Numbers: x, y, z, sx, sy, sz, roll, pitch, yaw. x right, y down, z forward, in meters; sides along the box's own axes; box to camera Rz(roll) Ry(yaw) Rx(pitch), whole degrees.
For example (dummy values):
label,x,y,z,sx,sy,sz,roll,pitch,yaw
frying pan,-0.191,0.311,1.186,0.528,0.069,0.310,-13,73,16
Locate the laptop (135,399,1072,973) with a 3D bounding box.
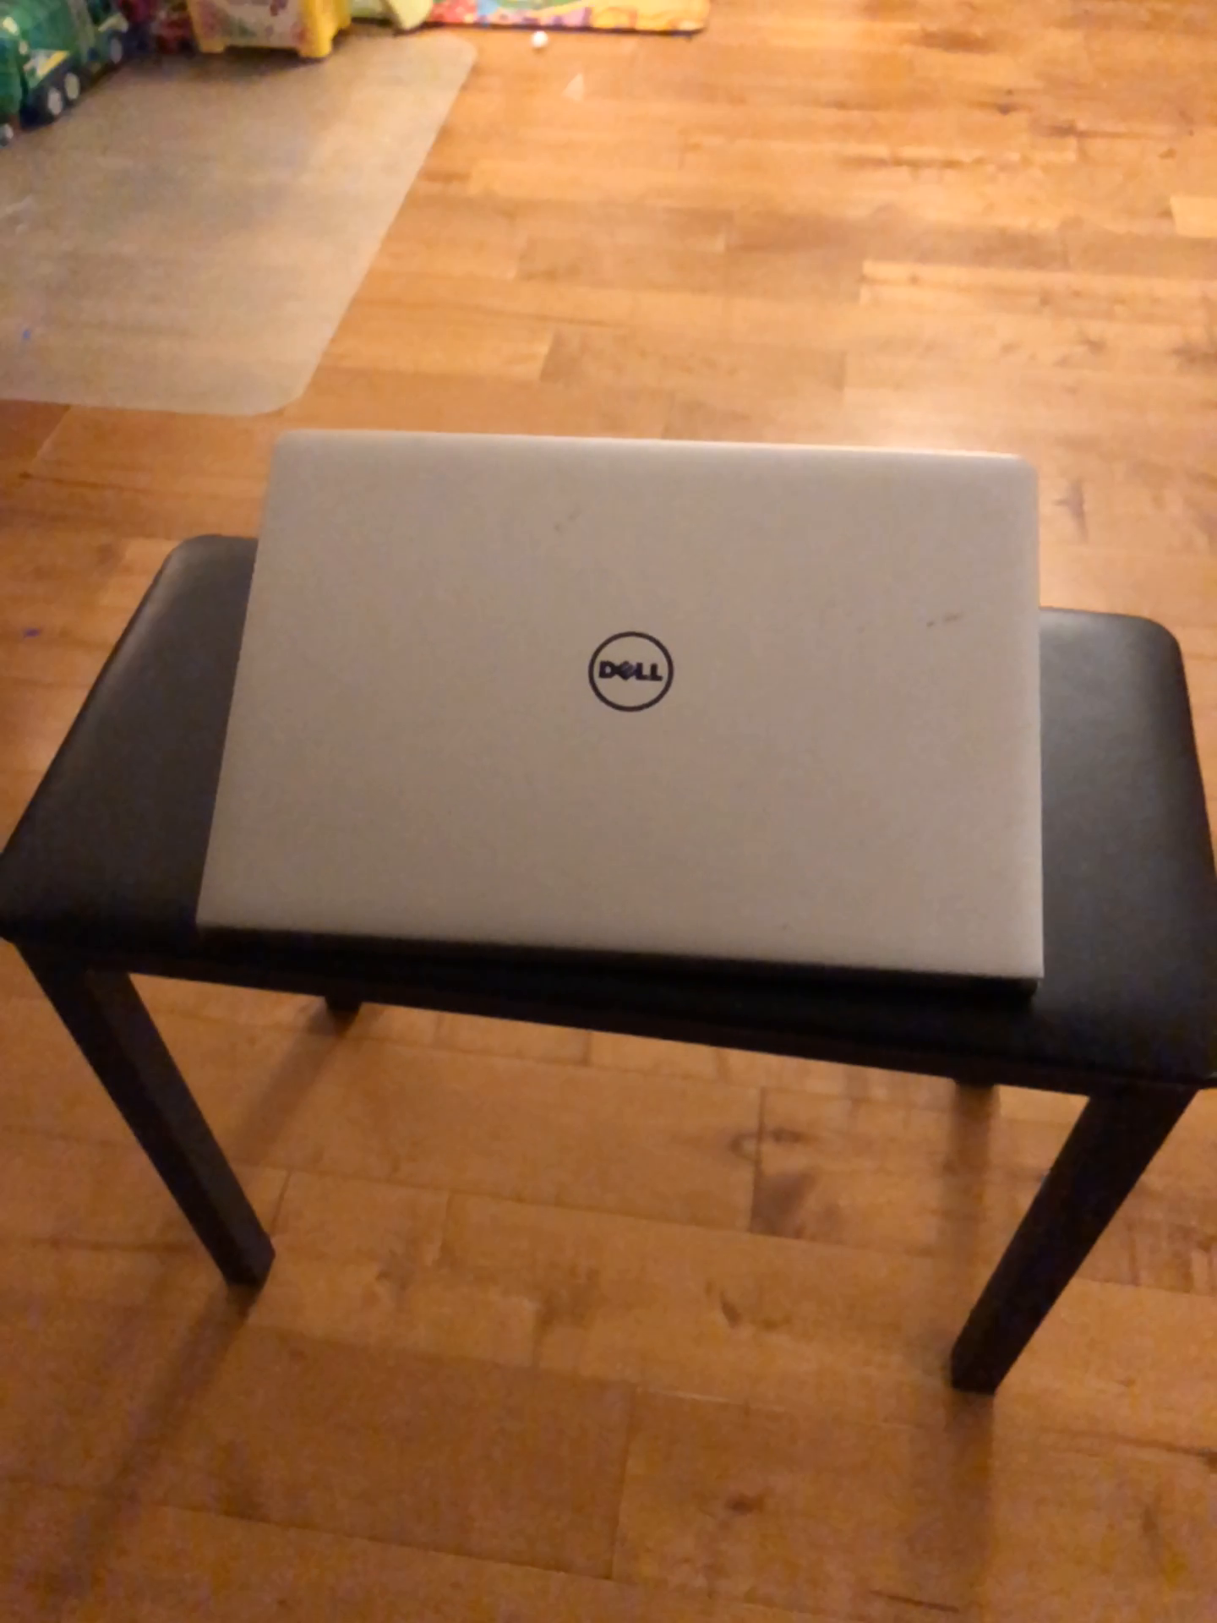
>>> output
label,x,y,z,sx,sy,sz,roll,pitch,yaw
laptop,0.003,-0.071,0.638,0.365,0.107,0.249,3,52,5
